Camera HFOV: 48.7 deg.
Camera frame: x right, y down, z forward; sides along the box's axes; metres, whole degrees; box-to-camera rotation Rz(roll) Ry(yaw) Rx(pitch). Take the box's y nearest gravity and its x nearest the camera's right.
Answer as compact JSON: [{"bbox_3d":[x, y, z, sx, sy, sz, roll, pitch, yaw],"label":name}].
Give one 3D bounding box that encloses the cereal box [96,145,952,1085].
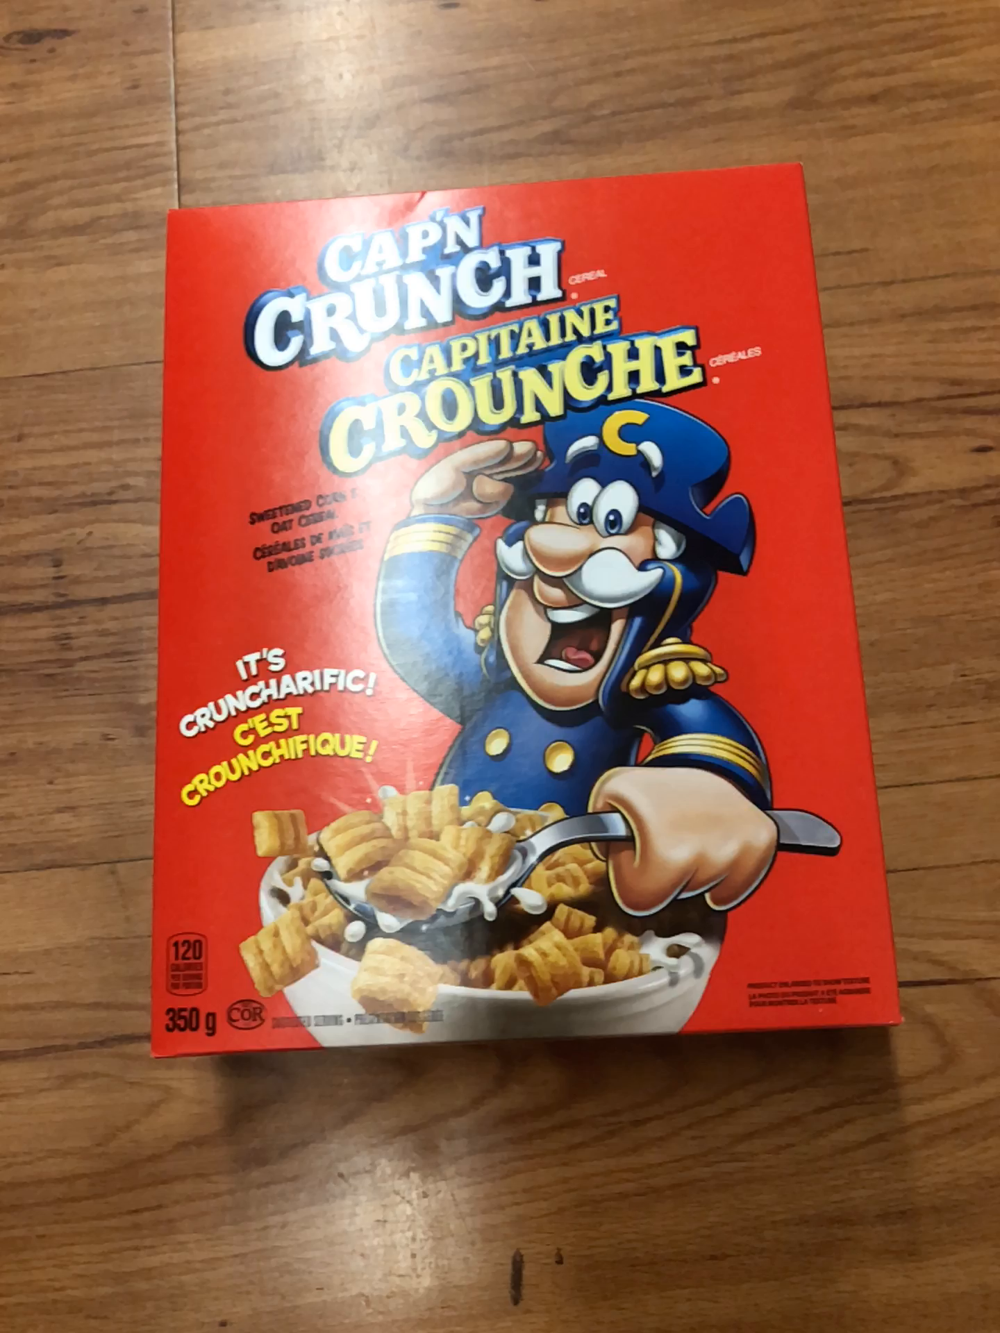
[{"bbox_3d":[0.000,-0.018,0.340,0.220,0.060,0.260,-3,78,3],"label":"cereal box"}]
